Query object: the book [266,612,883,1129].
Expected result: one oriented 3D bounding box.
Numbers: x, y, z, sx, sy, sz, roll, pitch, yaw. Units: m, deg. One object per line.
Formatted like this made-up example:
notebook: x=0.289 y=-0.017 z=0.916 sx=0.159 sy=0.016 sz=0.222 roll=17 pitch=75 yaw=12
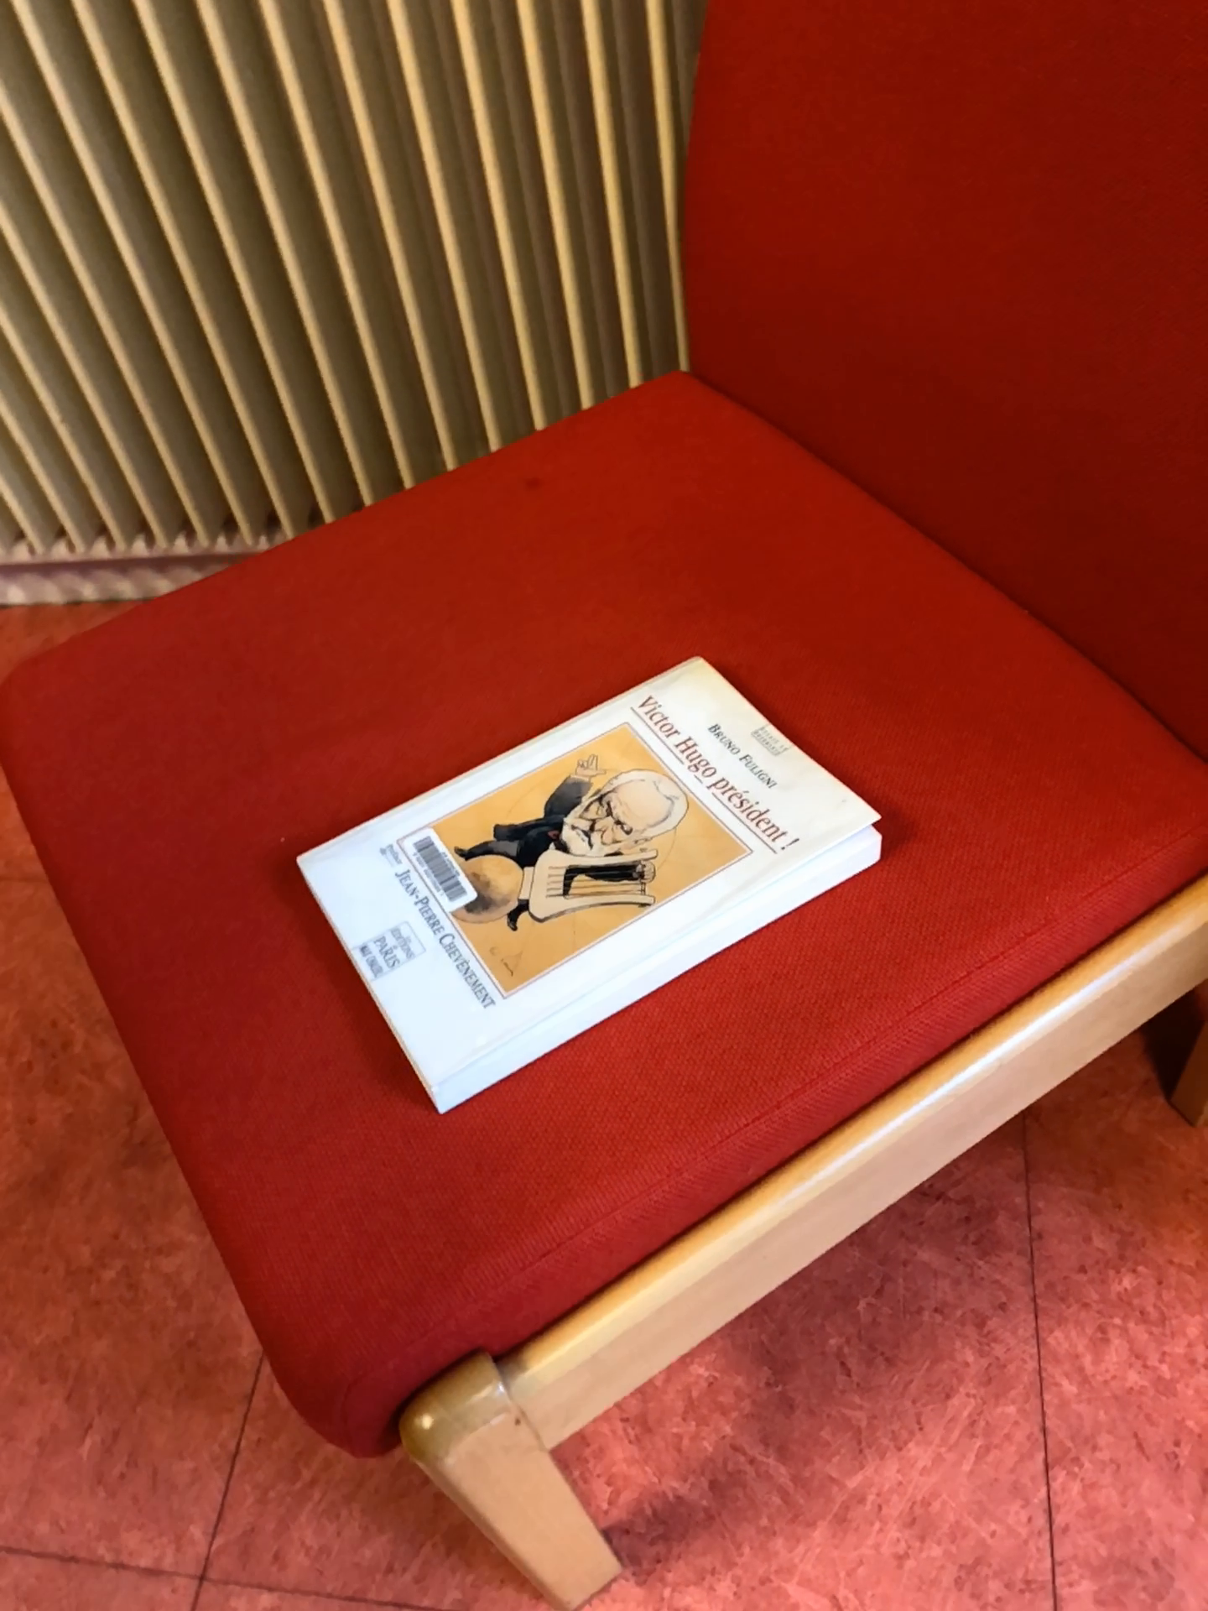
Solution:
book: x=-0.014 y=0.019 z=0.613 sx=0.237 sy=0.040 sz=0.151 roll=-30 pitch=53 yaw=-15
